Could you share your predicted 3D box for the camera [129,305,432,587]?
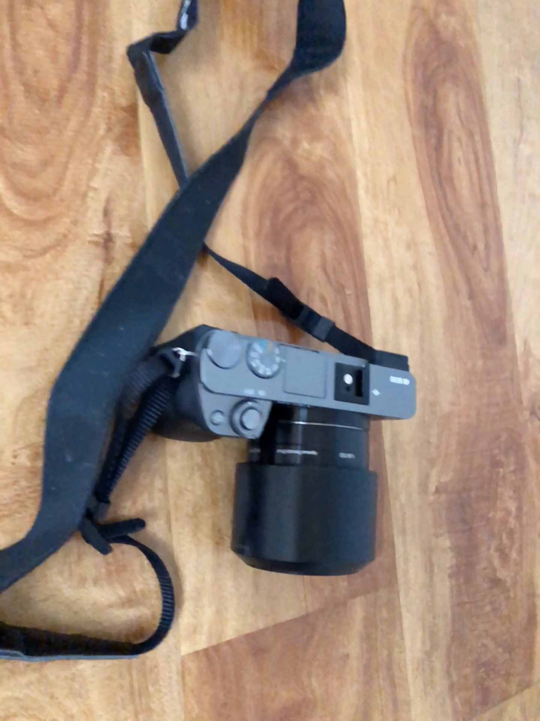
[{"bbox_3d":[0.009,0.044,0.300,0.130,0.070,0.110,9,78,-32],"label":"camera"}]
